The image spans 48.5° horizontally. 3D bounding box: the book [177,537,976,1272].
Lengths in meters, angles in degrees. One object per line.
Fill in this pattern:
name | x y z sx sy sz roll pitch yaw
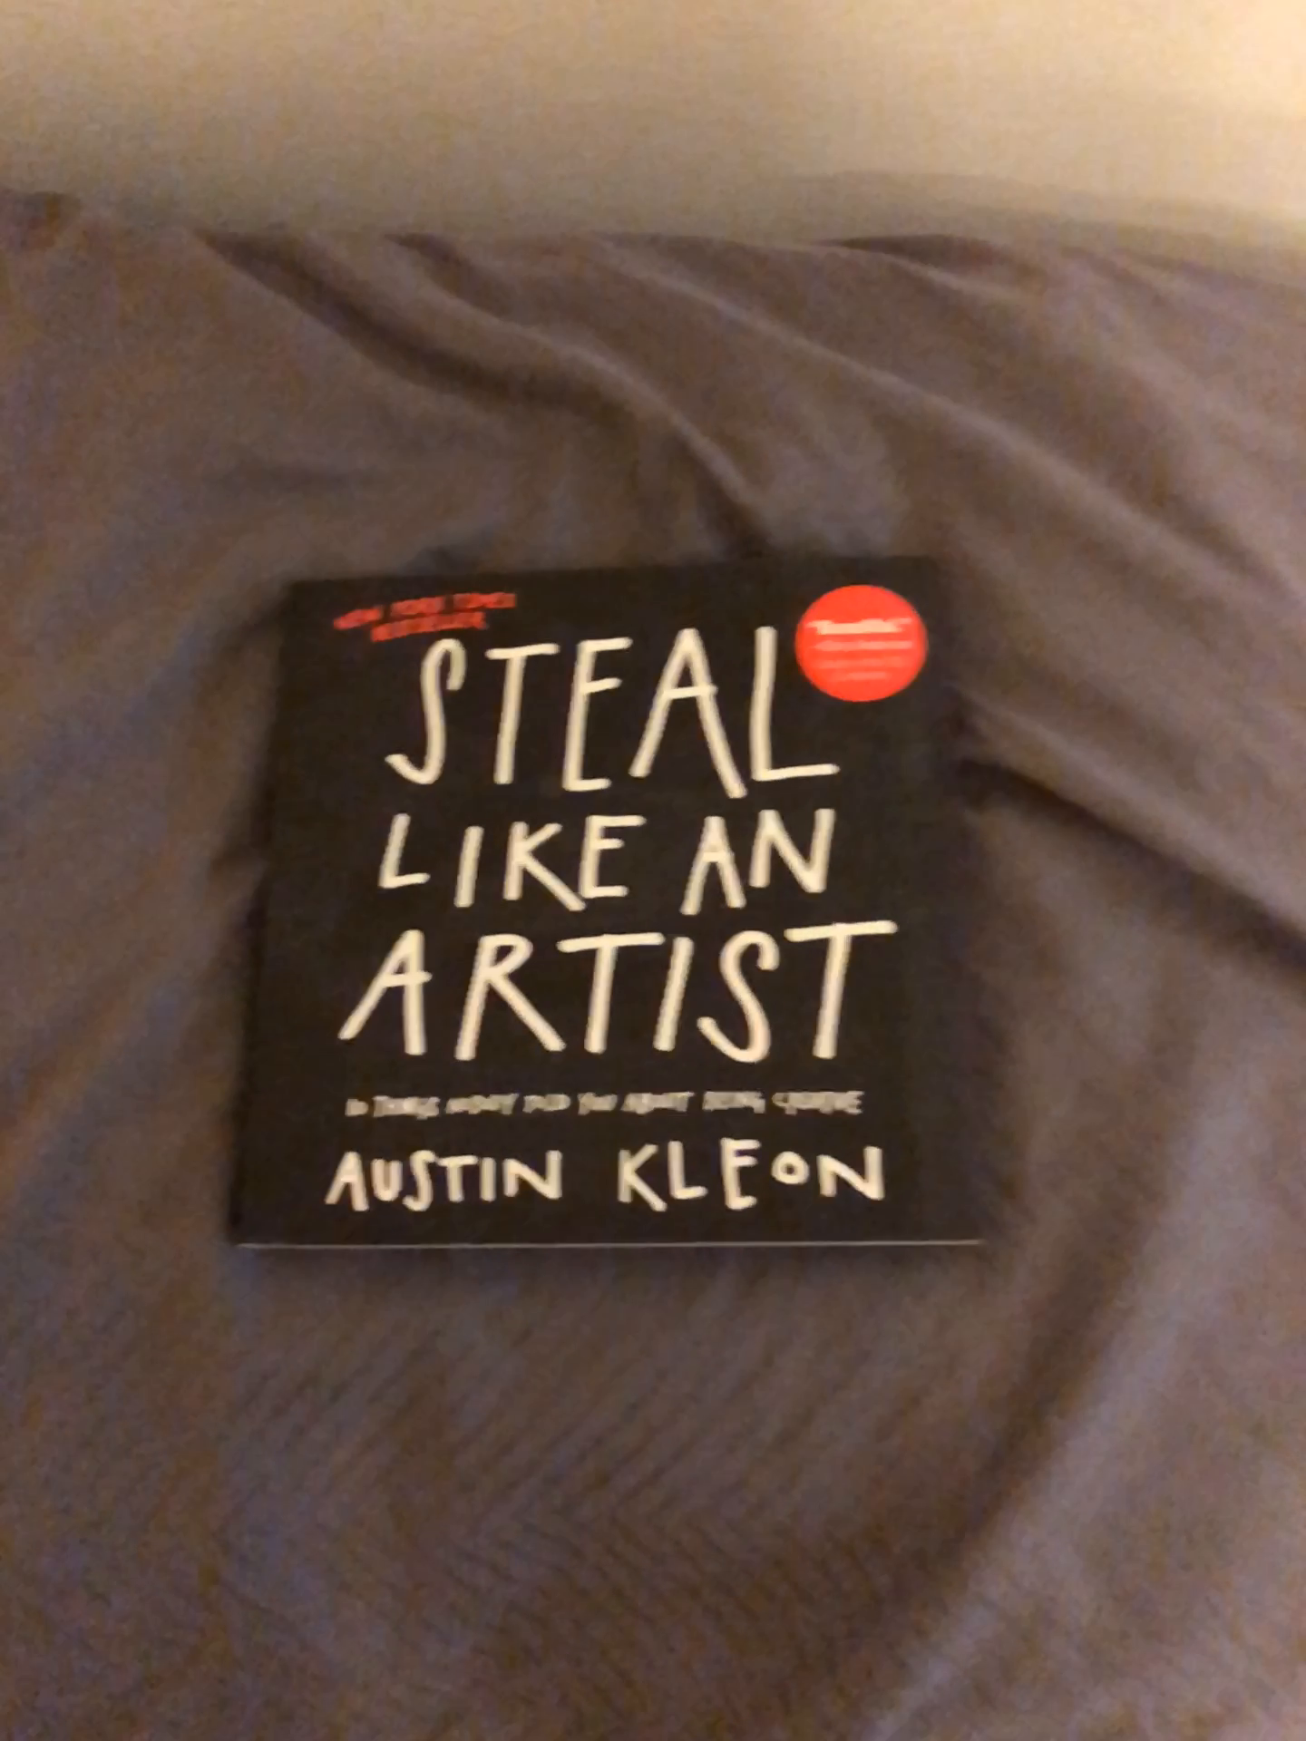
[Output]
book | -0.016 0.005 0.321 0.160 0.020 0.160 -1 74 2
